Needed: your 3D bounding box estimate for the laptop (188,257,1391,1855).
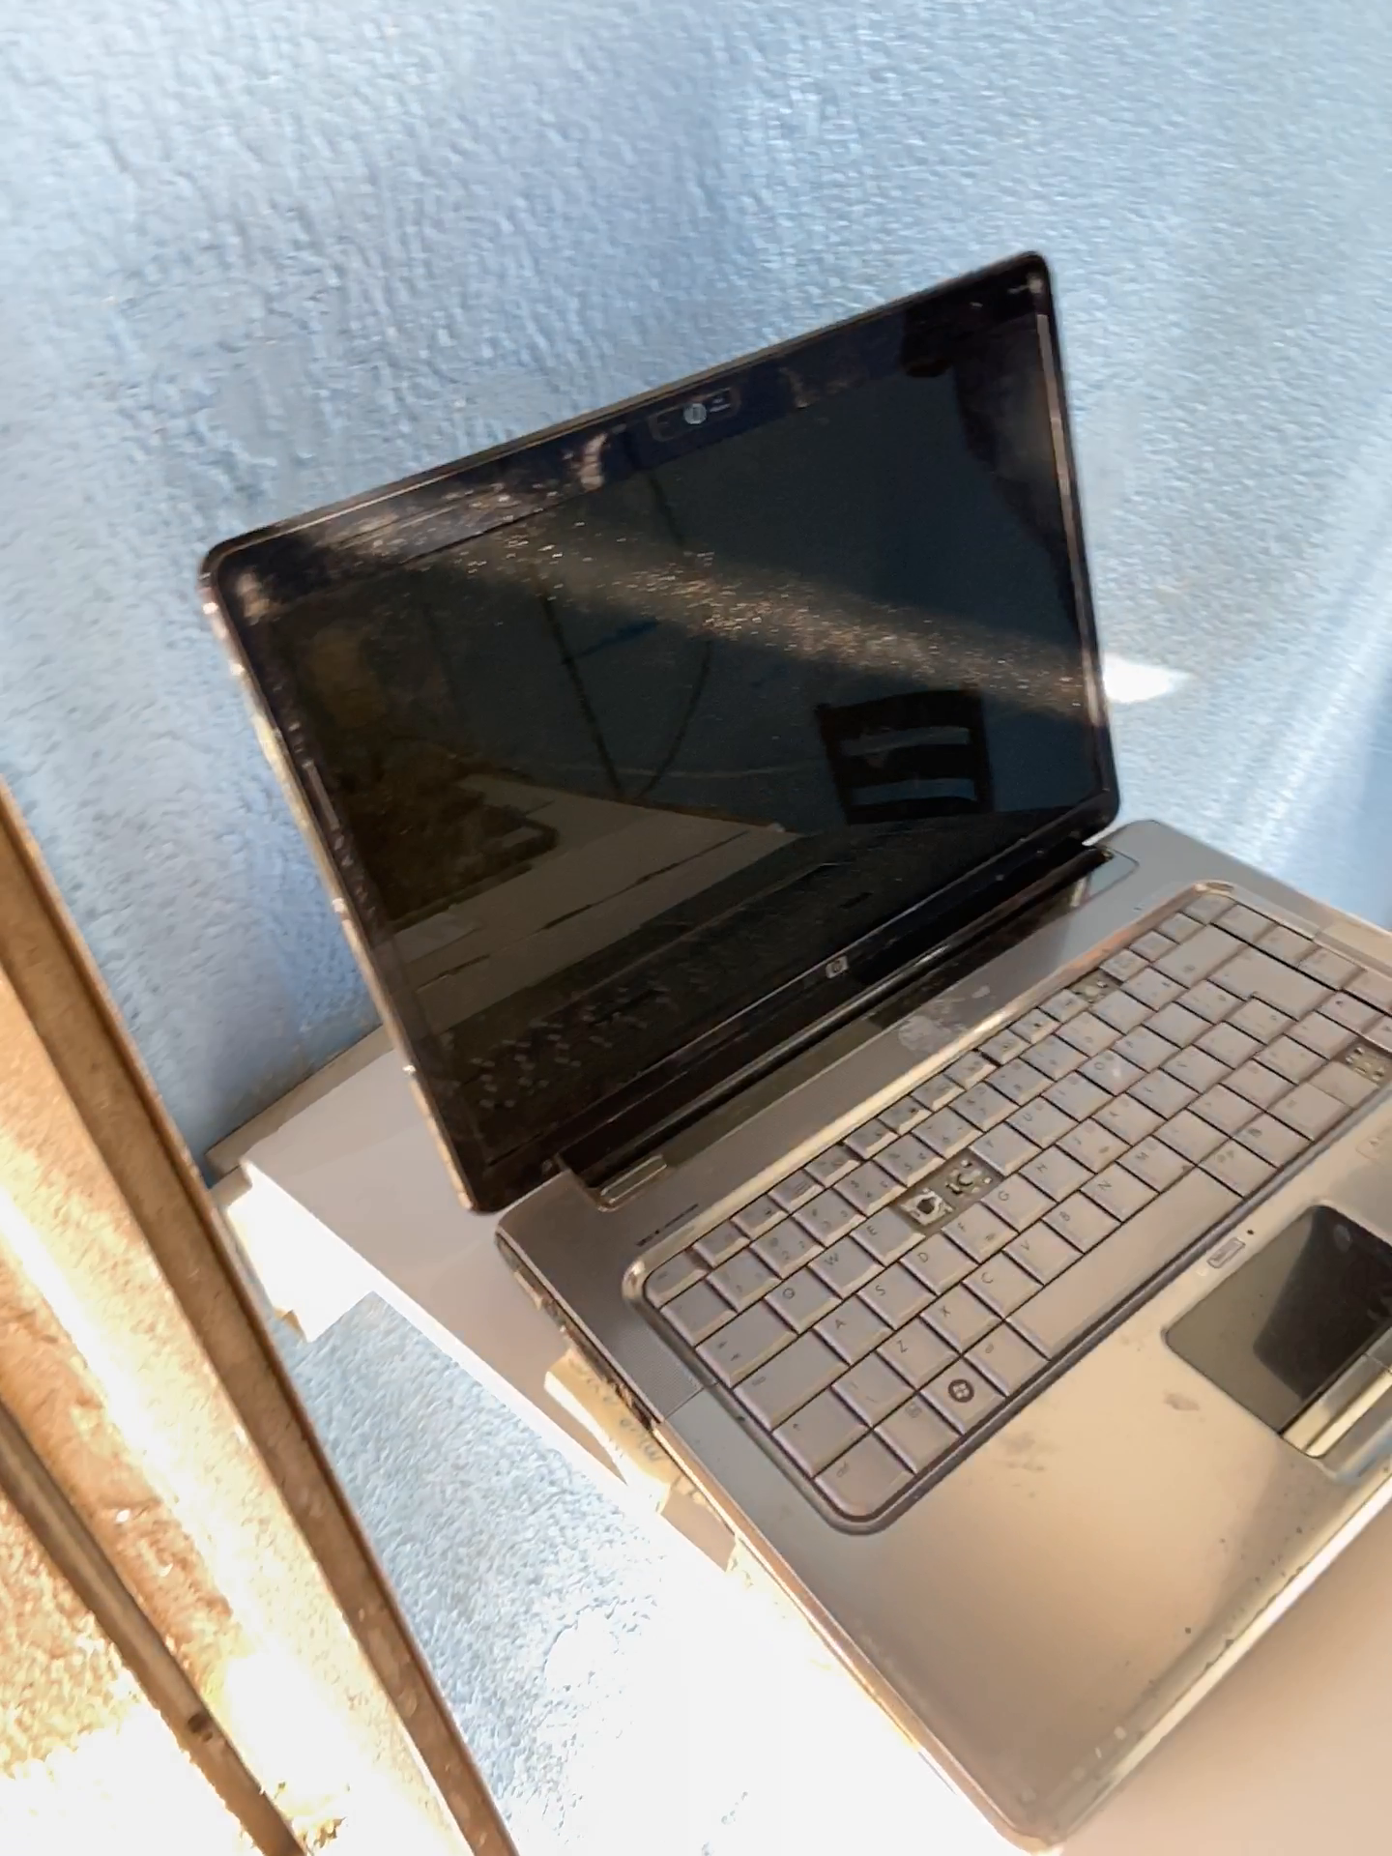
[{"bbox_3d":[0.104,-0.026,0.452,0.352,0.233,0.329,-29,42,-25],"label":"laptop"}]
